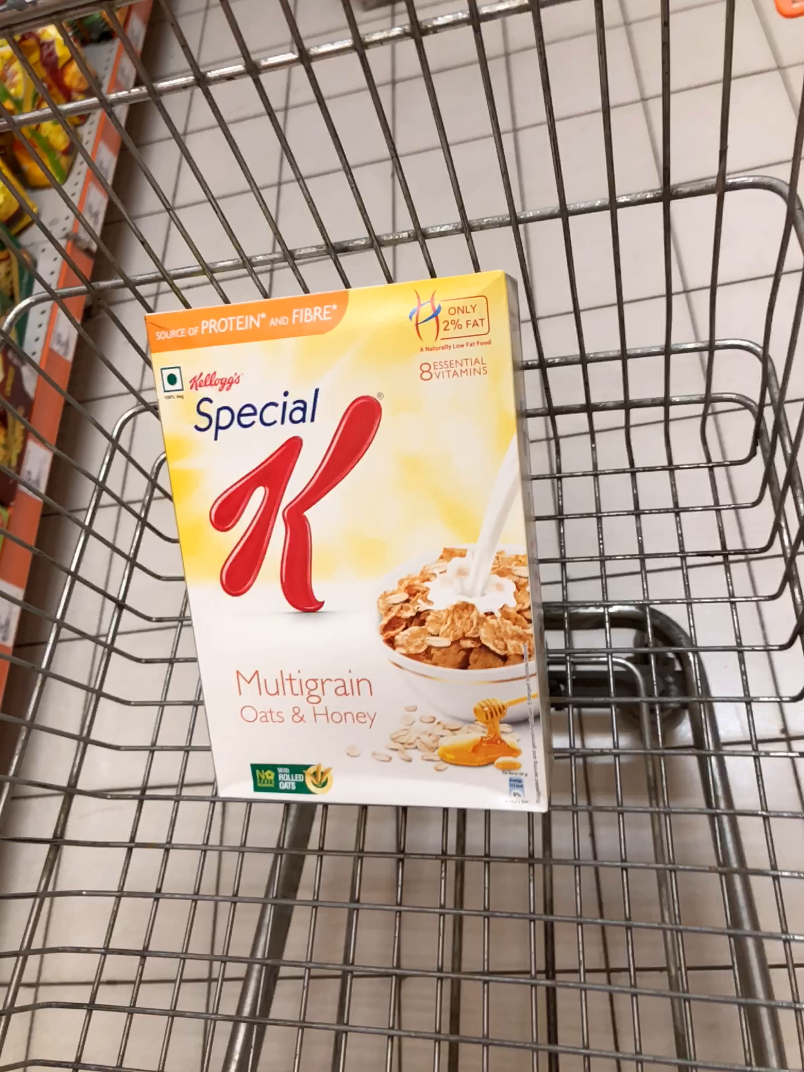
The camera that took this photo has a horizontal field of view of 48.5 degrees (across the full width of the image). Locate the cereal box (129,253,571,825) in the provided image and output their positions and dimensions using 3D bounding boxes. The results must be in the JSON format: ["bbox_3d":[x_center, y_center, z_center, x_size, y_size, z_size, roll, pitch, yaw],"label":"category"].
[{"bbox_3d":[-0.017,0.003,0.477,0.190,0.090,0.269,-2,102,16],"label":"cereal box"}]
